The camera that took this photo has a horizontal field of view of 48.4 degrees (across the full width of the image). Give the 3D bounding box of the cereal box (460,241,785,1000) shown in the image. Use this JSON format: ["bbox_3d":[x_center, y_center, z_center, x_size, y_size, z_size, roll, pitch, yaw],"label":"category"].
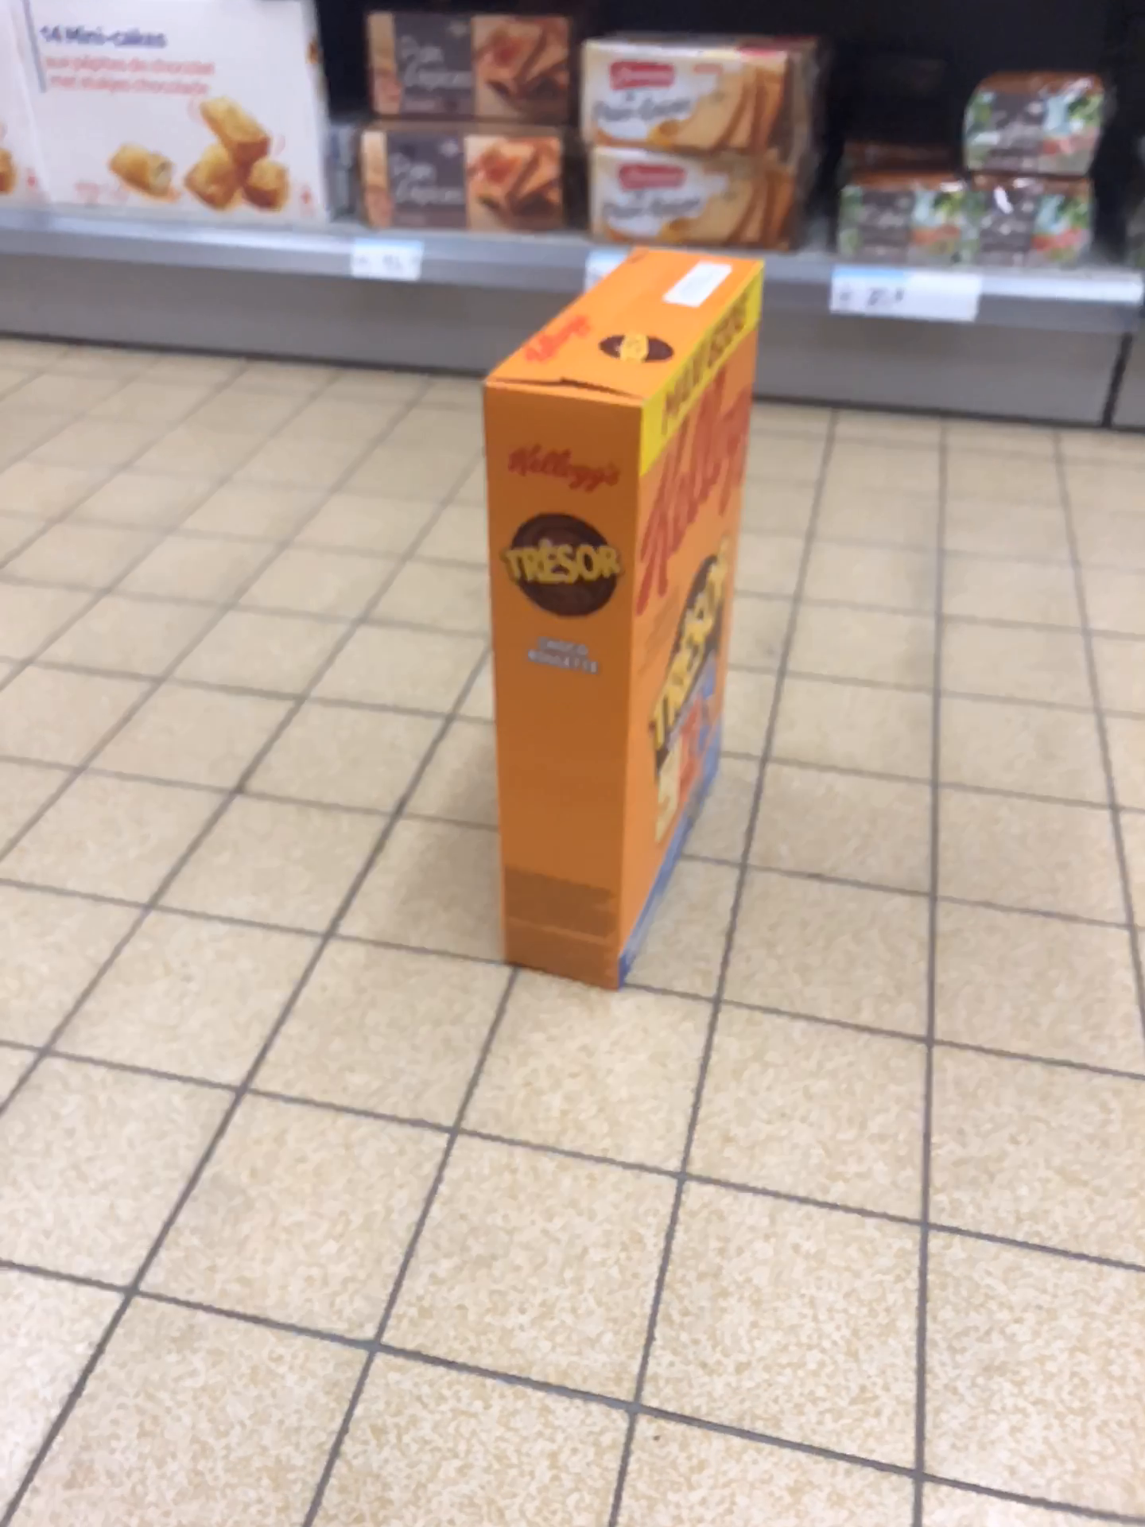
[{"bbox_3d":[0.030,-0.070,0.610,0.070,0.288,0.211,12,38,16],"label":"cereal box"}]
